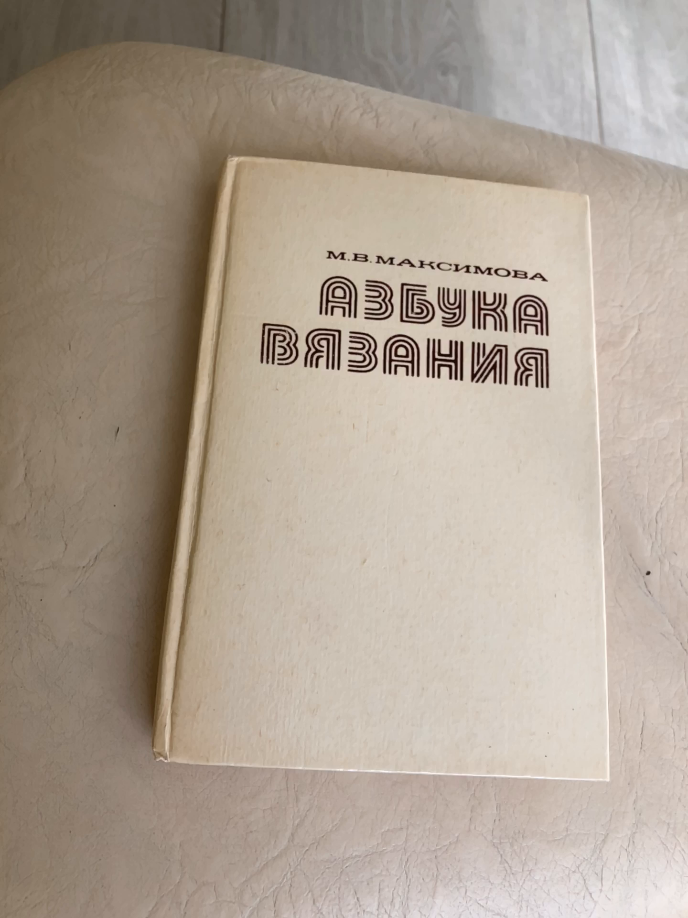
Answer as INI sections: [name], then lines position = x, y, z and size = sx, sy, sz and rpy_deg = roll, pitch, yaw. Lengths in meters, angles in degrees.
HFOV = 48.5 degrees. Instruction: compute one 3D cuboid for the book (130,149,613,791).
[book]
position = 0.016, -0.004, 0.275
size = 0.148, 0.024, 0.218
rpy_deg = 5, 73, -3
